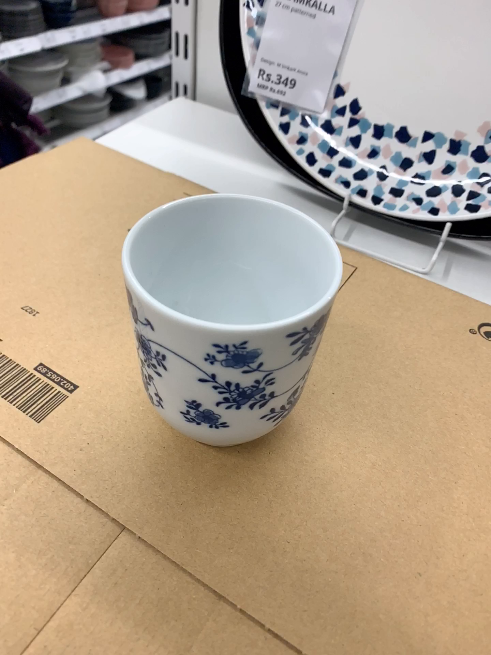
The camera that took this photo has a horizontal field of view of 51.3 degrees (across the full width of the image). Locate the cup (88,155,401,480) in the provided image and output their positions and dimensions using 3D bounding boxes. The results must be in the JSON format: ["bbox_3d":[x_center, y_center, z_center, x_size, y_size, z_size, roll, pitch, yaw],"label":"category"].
[{"bbox_3d":[-0.004,-0.003,0.187,0.080,0.080,0.080,5,43,-4],"label":"cup"}]
